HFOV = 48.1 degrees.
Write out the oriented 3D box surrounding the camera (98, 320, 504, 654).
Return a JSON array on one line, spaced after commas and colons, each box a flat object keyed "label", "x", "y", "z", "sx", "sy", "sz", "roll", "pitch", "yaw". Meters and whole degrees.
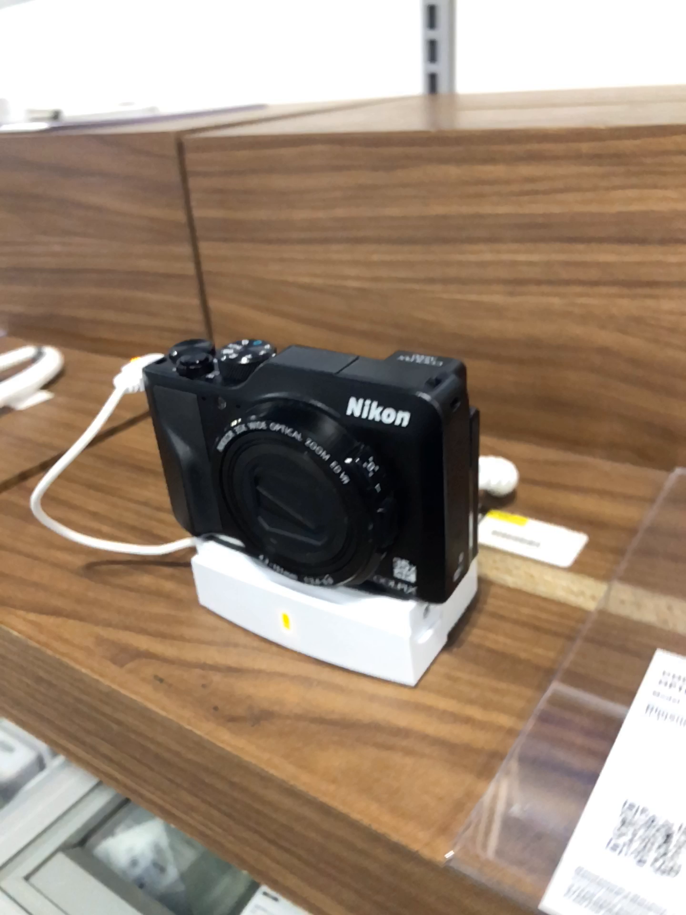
[{"label": "camera", "x": -0.014, "y": 0.002, "z": 0.253, "sx": 0.120, "sy": 0.070, "sz": 0.050, "roll": 14, "pitch": 31, "yaw": 33}]
